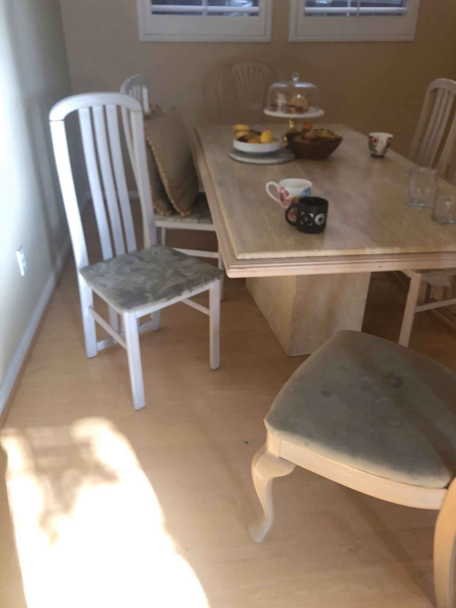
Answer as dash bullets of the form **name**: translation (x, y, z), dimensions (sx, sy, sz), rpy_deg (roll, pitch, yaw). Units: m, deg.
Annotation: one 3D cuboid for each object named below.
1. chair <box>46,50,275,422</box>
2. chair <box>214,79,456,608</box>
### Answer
- **chair**: translation (-0.264, -0.339, 2.313), dimensions (0.633, 1.449, 0.672), rpy_deg (-21, 34, -33)
- **chair**: translation (0.410, 0.199, 1.264), dimensions (0.631, 1.289, 0.594), rpy_deg (21, 35, 27)
